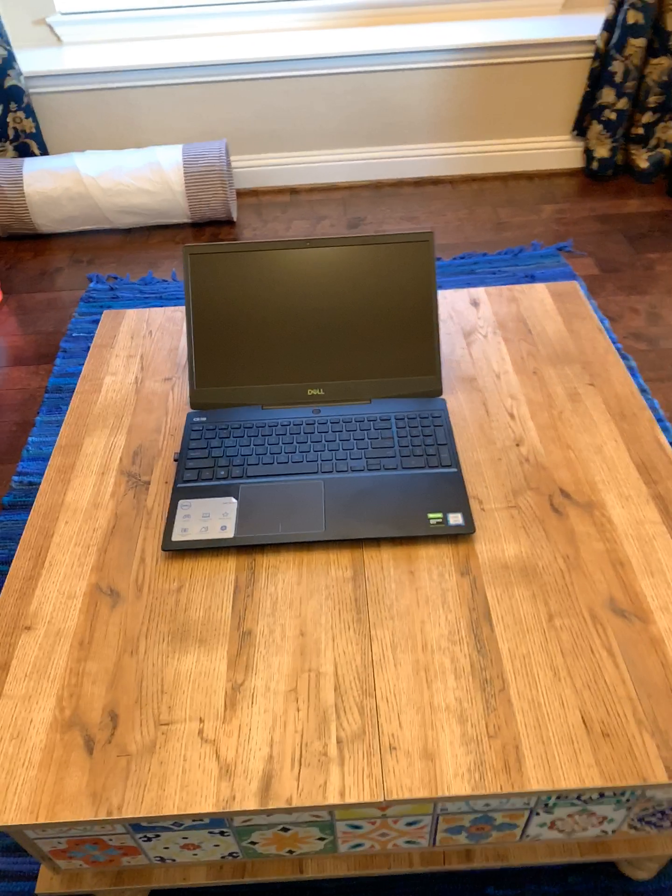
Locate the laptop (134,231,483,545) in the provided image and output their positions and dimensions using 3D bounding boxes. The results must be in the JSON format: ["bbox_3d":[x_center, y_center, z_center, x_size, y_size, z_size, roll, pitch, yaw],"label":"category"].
[{"bbox_3d":[-0.029,-0.099,0.886,0.345,0.156,0.420,-3,43,1],"label":"laptop"}]
